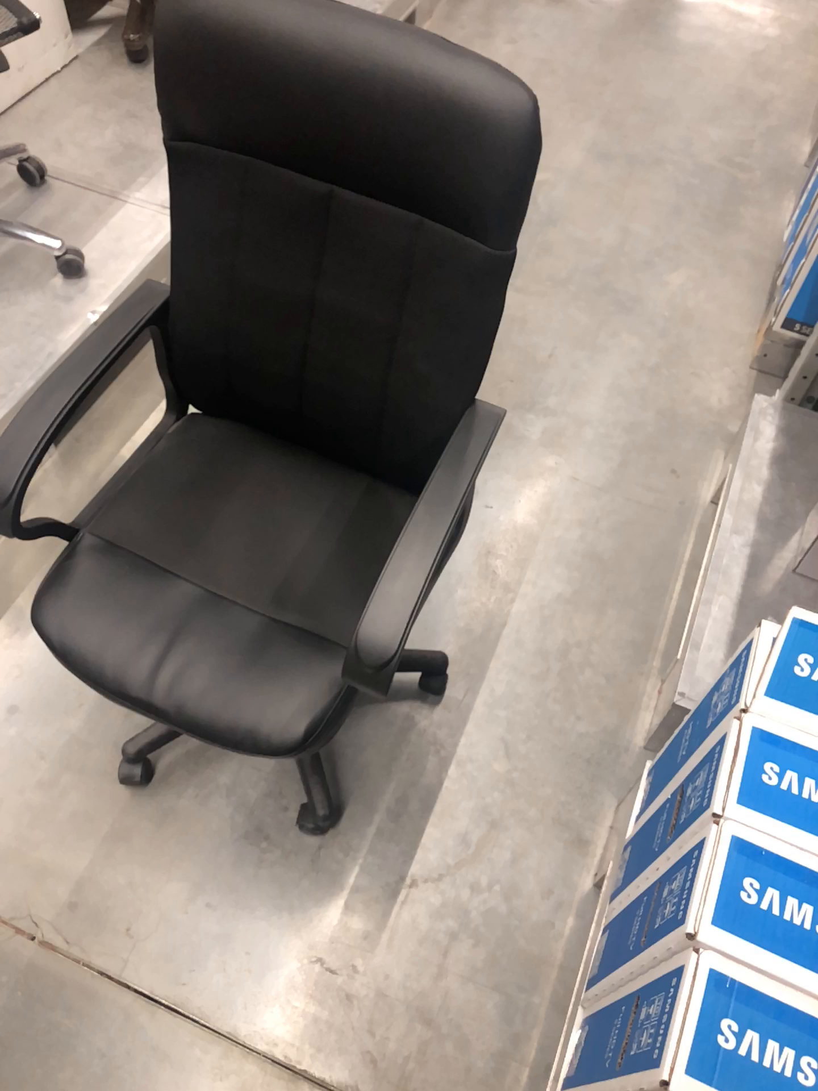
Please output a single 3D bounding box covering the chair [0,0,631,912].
[{"bbox_3d":[-0.220,-0.048,1.284,0.650,1.124,0.633,21,57,11],"label":"chair"}]
